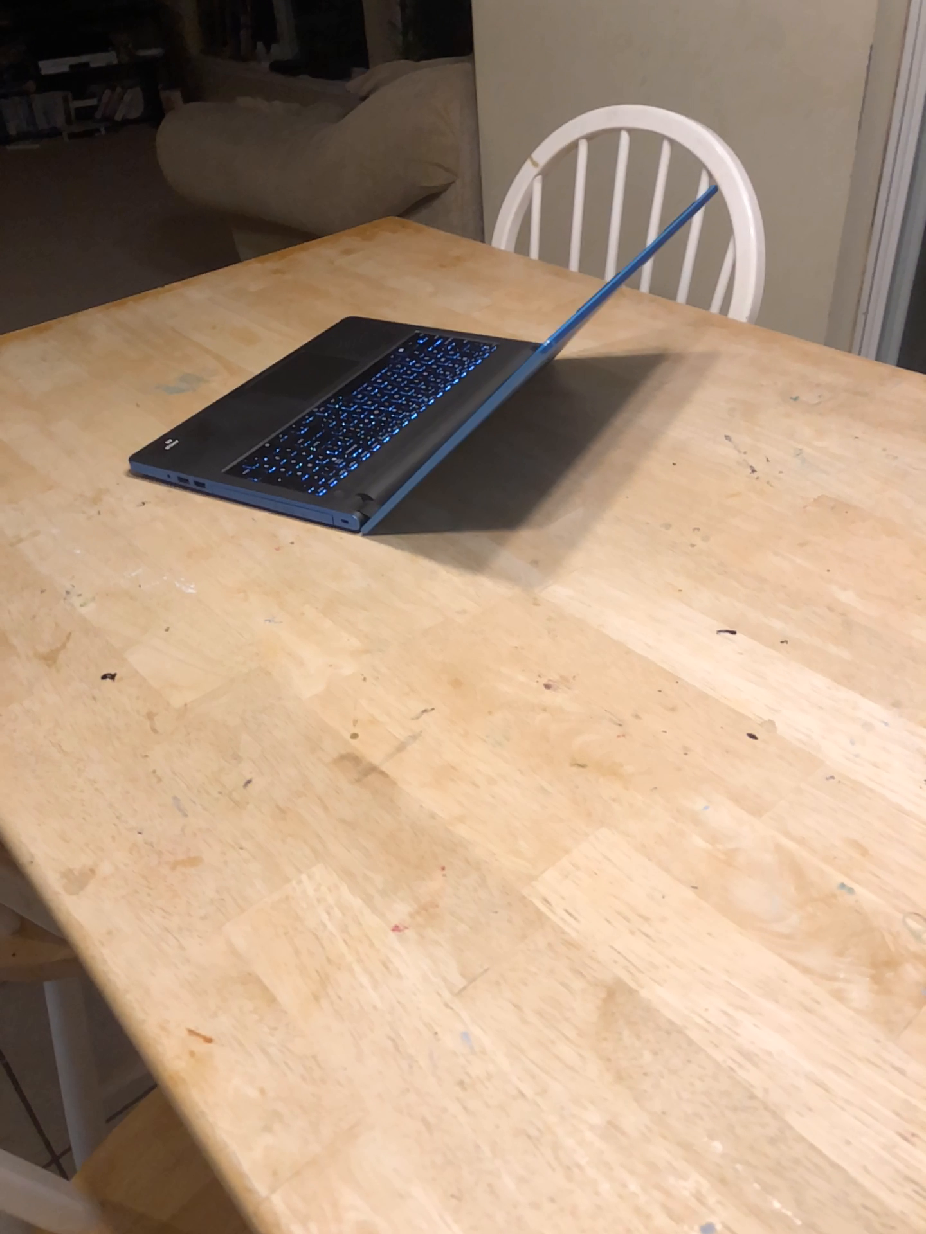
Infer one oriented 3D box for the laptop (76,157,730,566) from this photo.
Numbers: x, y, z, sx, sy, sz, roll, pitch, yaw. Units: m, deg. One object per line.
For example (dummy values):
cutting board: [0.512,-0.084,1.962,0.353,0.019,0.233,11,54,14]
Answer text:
laptop: [-0.032,-0.260,0.904,0.419,0.174,0.368,16,41,24]
